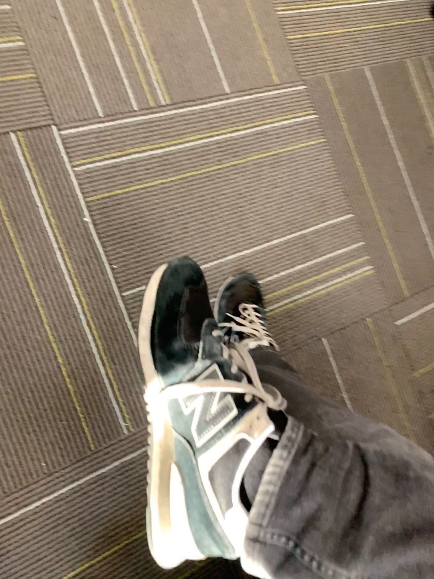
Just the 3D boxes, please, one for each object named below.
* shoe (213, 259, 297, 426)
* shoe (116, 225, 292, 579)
[{"bbox_3d":[0.071,0.104,0.889,0.115,0.133,0.304,2,82,-21],"label":"shoe"},{"bbox_3d":[-0.006,0.107,0.419,0.133,0.115,0.304,-3,83,14],"label":"shoe"}]
